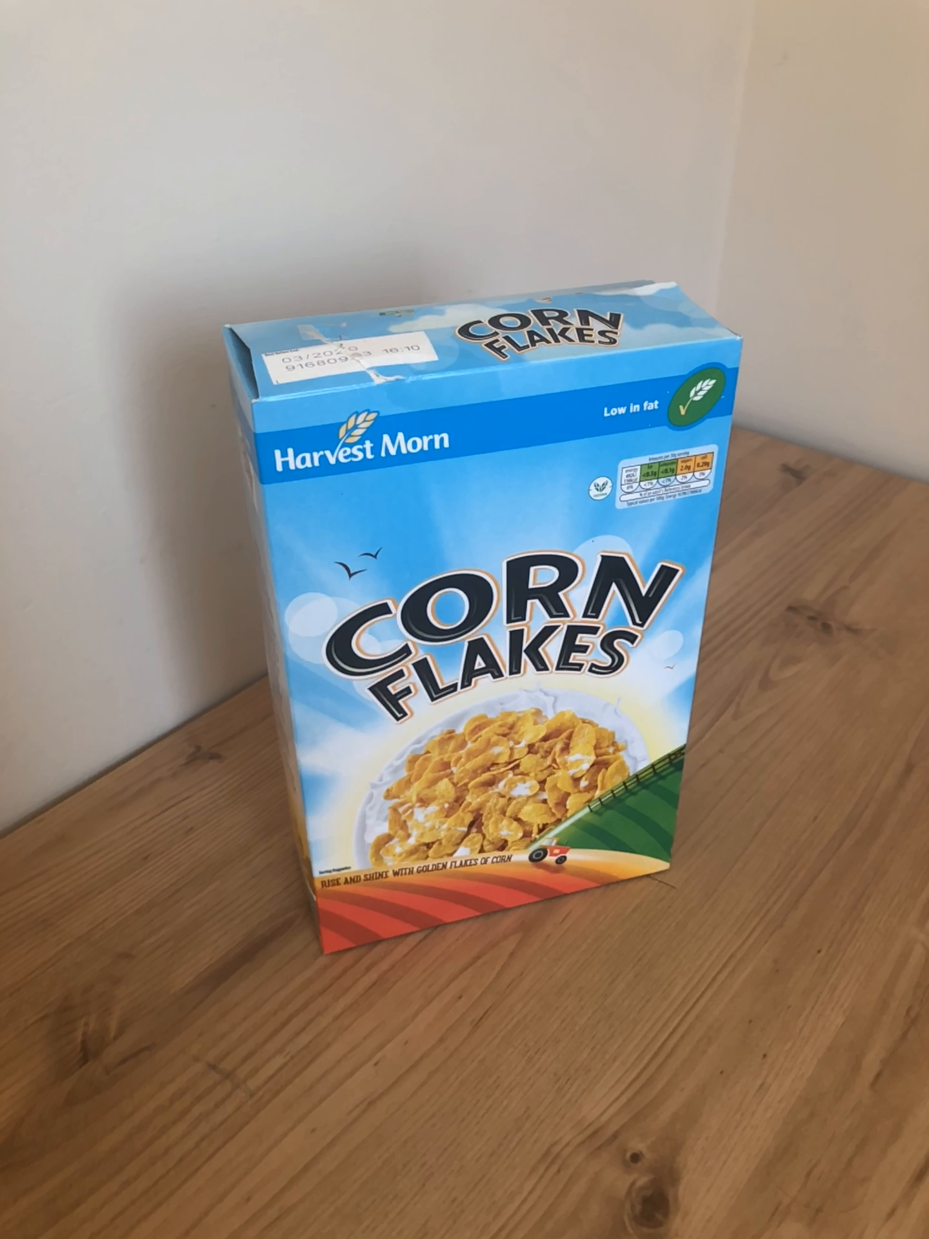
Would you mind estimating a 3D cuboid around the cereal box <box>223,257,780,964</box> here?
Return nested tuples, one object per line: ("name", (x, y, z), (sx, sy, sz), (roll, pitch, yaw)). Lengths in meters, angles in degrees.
("cereal box", (0.013, 0.007, 0.485), (0.200, 0.308, 0.081), (-10, 35, -13))
